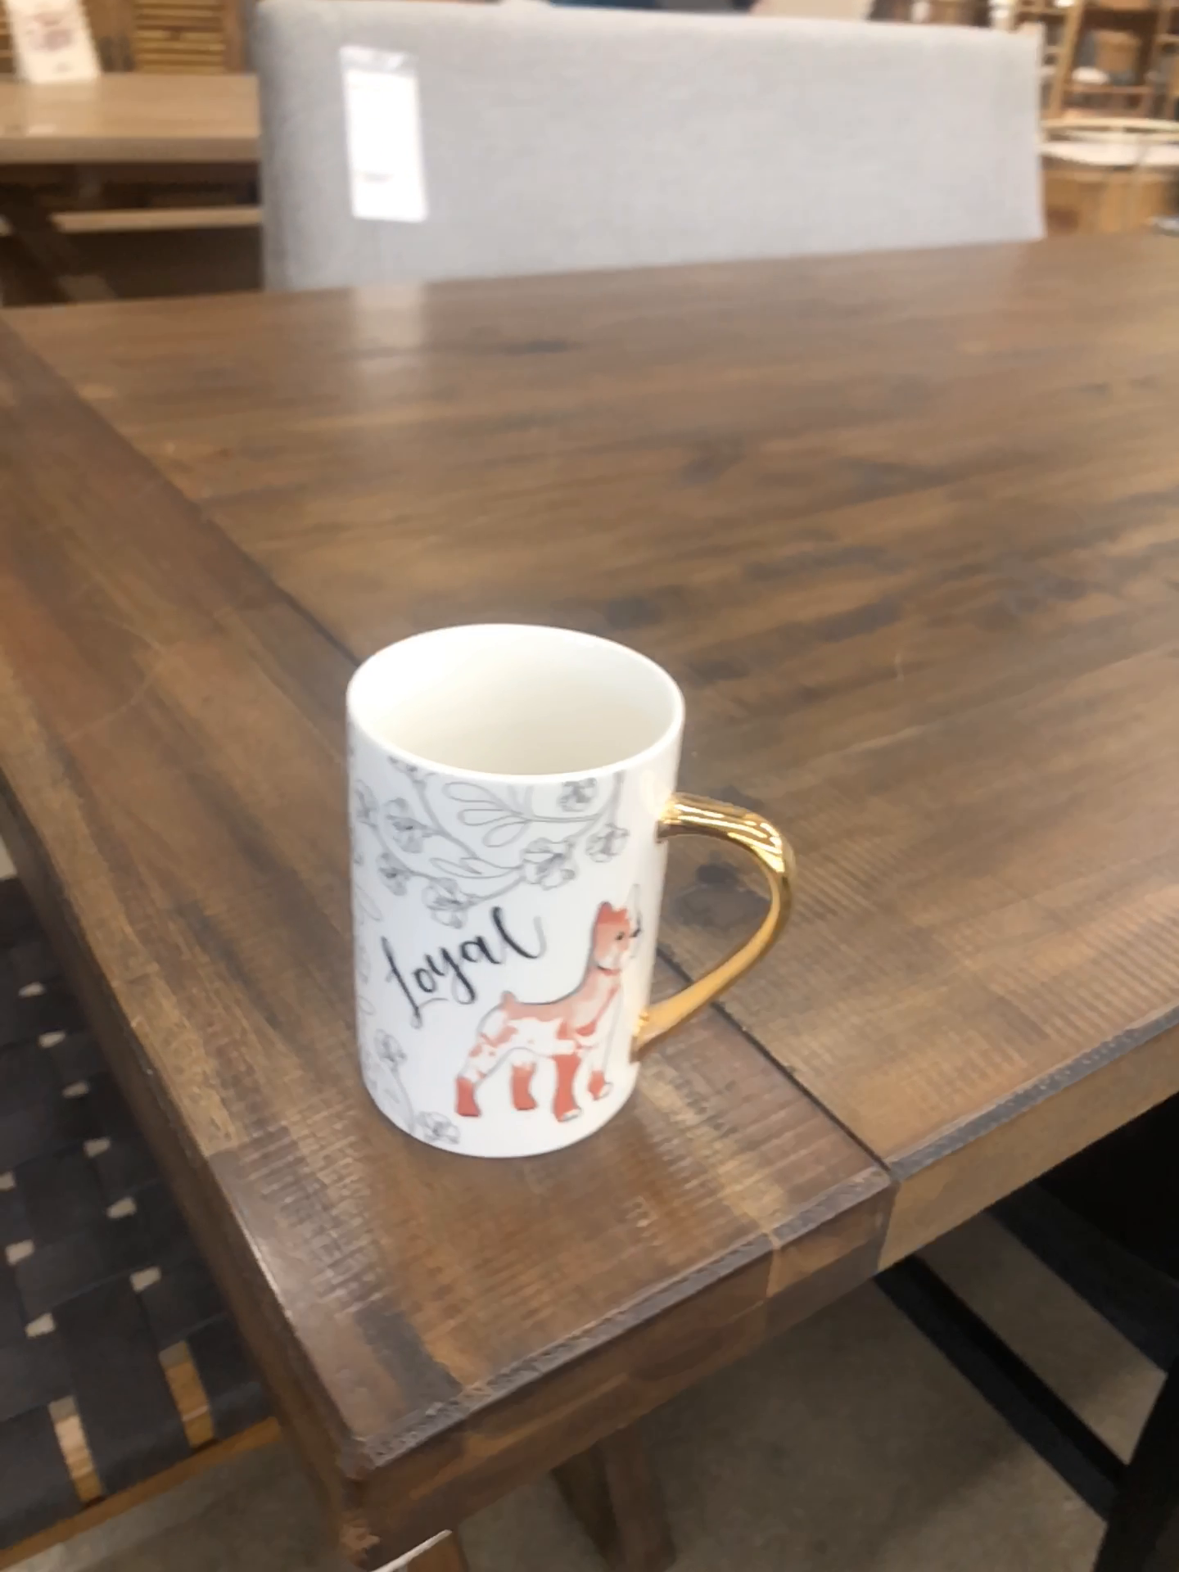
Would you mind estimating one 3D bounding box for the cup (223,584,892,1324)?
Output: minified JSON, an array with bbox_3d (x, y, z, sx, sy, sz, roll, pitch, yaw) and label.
[{"bbox_3d":[-0.006,0.033,0.323,0.119,0.115,0.098,16,32,19],"label":"cup"}]
